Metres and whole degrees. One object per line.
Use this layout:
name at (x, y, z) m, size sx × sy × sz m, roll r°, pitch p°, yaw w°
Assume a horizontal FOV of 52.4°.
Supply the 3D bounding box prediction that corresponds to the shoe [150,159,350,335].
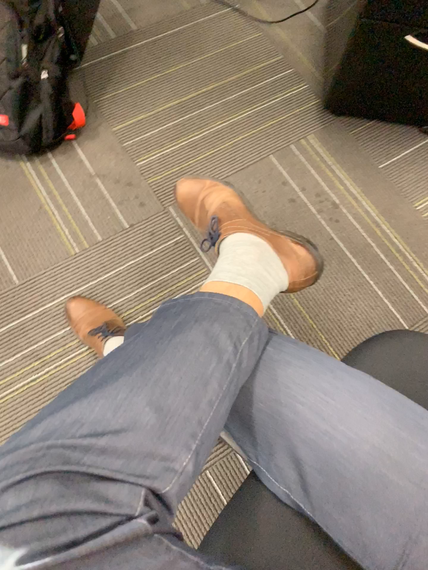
shoe at (0.046, -0.067, 0.684) m, size 0.294 × 0.114 × 0.082 m, roll 37°, pitch 41°, yaw 16°

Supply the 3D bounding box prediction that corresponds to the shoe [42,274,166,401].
shoe at (-0.243, 0.115, 0.975) m, size 0.276 × 0.068 × 0.112 m, roll 43°, pitch 72°, yaw 12°
